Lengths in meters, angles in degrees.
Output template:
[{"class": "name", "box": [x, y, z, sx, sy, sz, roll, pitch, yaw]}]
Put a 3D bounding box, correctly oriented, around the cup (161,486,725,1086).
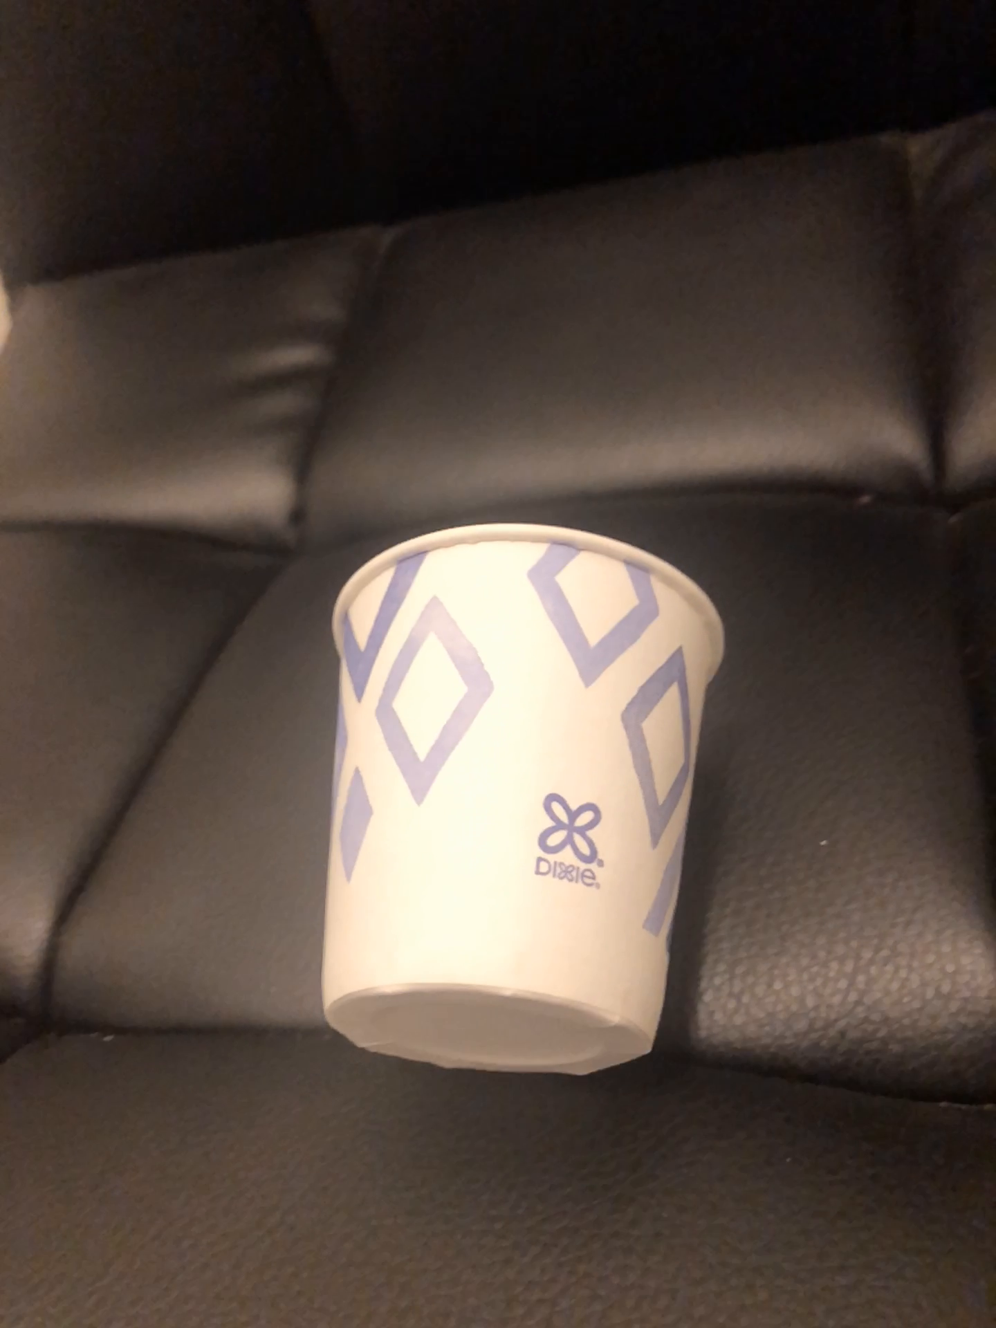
[{"class": "cup", "box": [-0.001, 0.018, 0.148, 0.052, 0.049, 0.058, -4, 59, 19]}]
